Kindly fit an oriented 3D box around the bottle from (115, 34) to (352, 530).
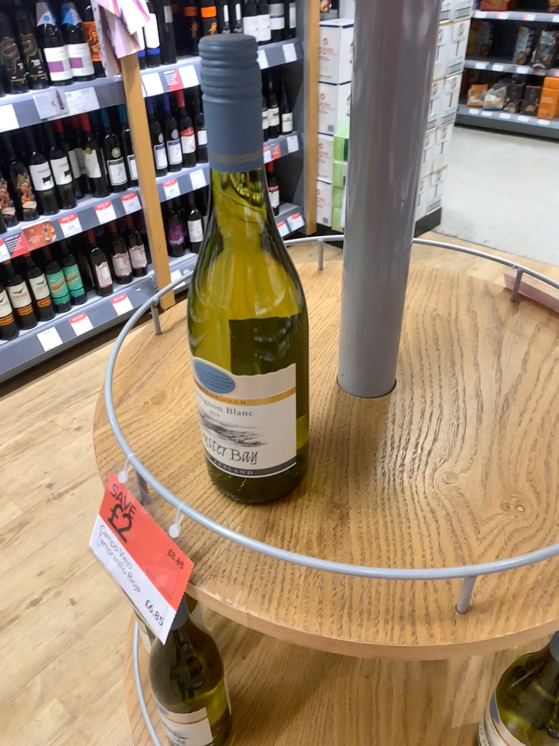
[{"bbox_3d":[-0.017,-0.040,0.355,0.080,0.284,0.080,-1,36,1],"label":"bottle"}]
